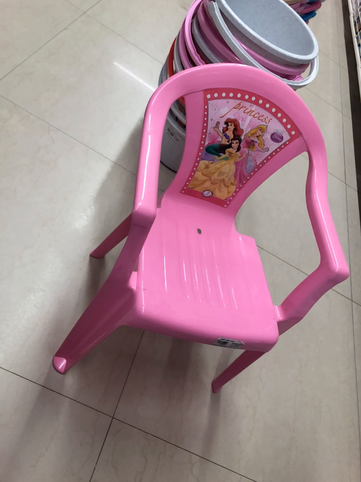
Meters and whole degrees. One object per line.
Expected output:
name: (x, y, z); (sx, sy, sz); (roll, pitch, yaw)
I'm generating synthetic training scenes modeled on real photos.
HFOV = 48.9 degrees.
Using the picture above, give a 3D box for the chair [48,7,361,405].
chair: (0.050, 0.010, 0.653); (0.370, 0.477, 0.352); (15, 51, -21)
